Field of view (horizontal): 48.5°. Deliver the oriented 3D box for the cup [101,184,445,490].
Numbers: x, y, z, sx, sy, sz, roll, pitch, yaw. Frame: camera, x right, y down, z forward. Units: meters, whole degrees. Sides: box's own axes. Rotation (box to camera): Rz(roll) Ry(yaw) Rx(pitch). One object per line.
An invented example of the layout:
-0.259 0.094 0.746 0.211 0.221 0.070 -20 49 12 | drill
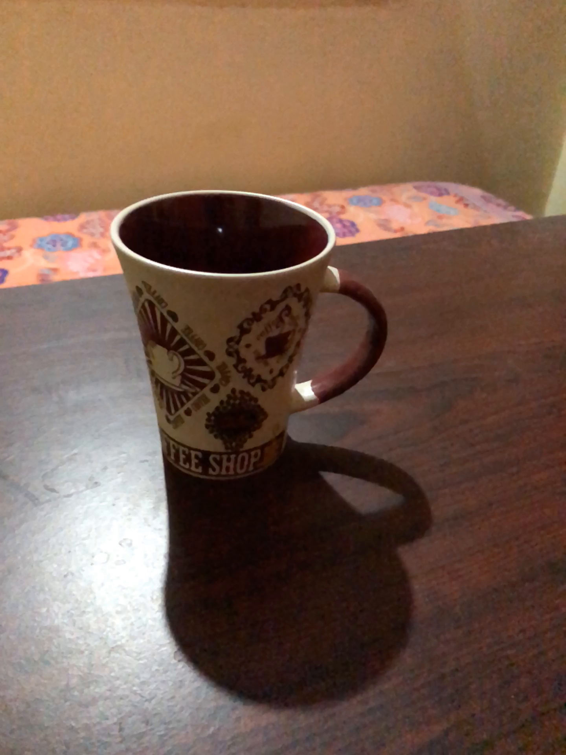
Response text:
-0.009 -0.022 0.287 0.120 0.099 0.101 -1 34 -6 | cup
